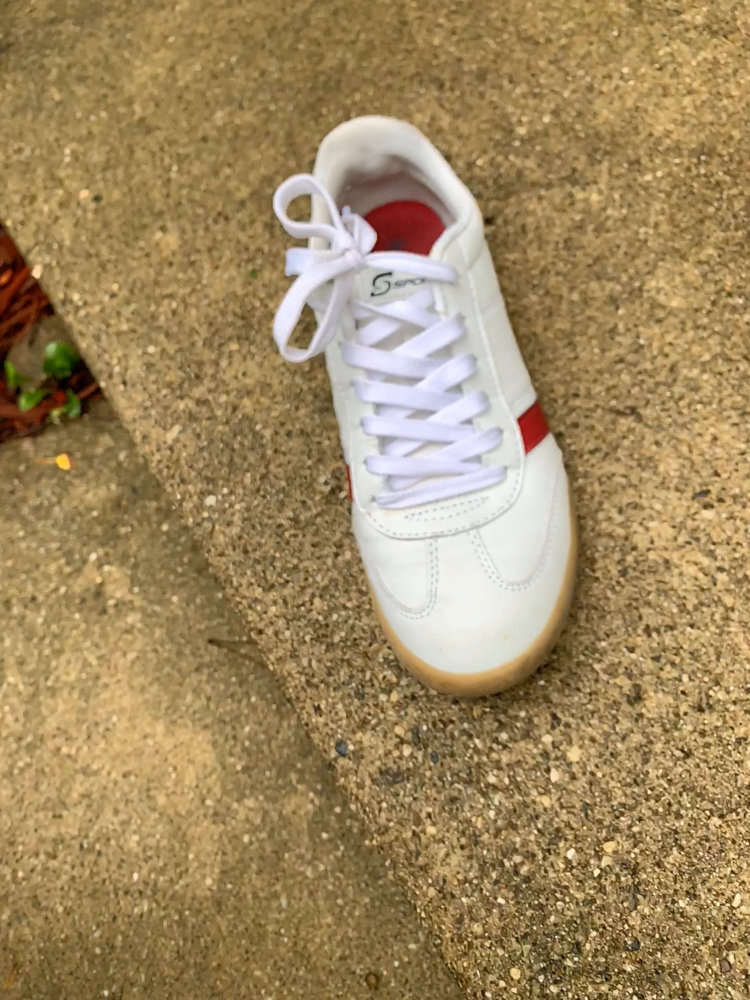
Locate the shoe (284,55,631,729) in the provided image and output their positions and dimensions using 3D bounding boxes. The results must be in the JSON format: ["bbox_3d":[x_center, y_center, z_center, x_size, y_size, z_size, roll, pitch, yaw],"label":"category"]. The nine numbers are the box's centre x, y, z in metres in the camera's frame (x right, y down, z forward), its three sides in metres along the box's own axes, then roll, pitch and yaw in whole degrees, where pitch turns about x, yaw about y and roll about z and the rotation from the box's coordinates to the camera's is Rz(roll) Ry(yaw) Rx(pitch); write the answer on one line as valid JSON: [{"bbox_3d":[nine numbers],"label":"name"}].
[{"bbox_3d":[0.027,-0.051,0.341,0.098,0.092,0.270,-10,65,9],"label":"shoe"}]
